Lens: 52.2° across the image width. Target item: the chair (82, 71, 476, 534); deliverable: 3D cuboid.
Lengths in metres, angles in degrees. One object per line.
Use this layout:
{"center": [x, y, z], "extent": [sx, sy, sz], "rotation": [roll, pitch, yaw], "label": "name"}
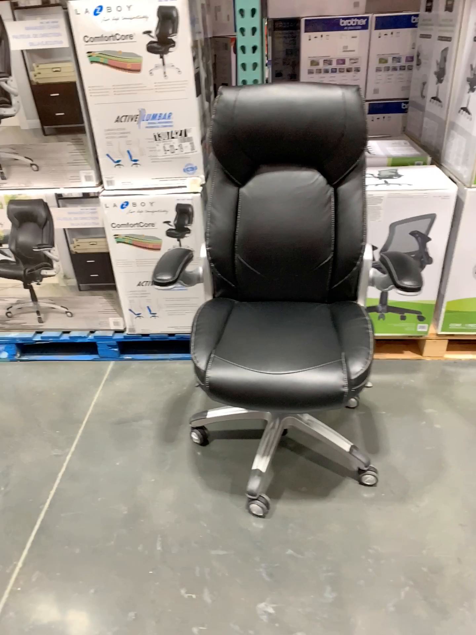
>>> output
{"center": [0.139, -0.058, 1.449], "extent": [0.728, 1.128, 0.708], "rotation": [2, 31, 8], "label": "chair"}
